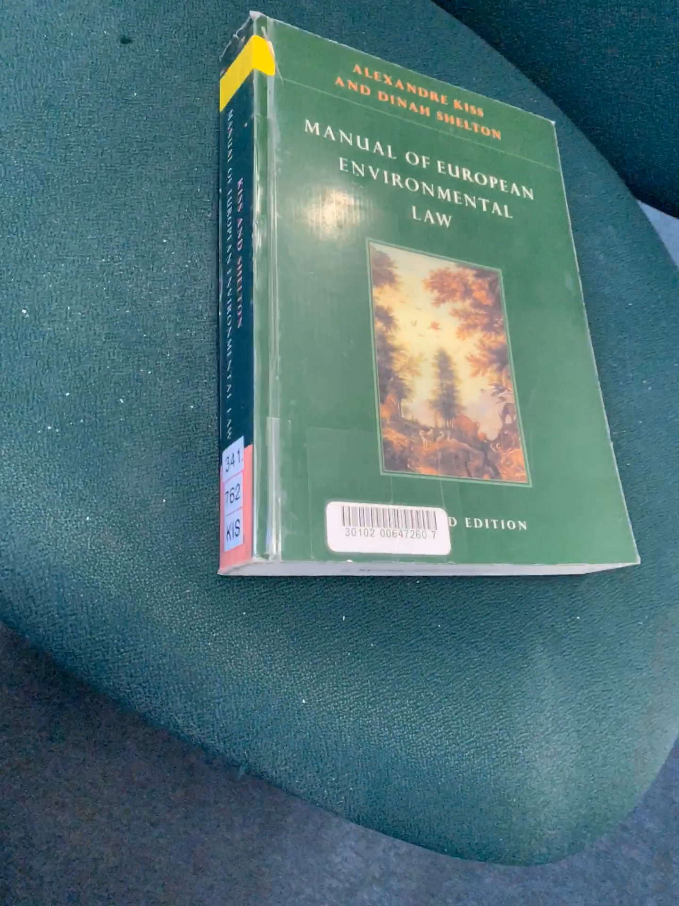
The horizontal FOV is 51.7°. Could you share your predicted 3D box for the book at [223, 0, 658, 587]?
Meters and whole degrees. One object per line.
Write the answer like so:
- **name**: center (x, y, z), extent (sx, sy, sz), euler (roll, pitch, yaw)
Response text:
- **book**: center (0.041, -0.069, 0.316), extent (0.180, 0.040, 0.251), euler (5, 71, -26)
